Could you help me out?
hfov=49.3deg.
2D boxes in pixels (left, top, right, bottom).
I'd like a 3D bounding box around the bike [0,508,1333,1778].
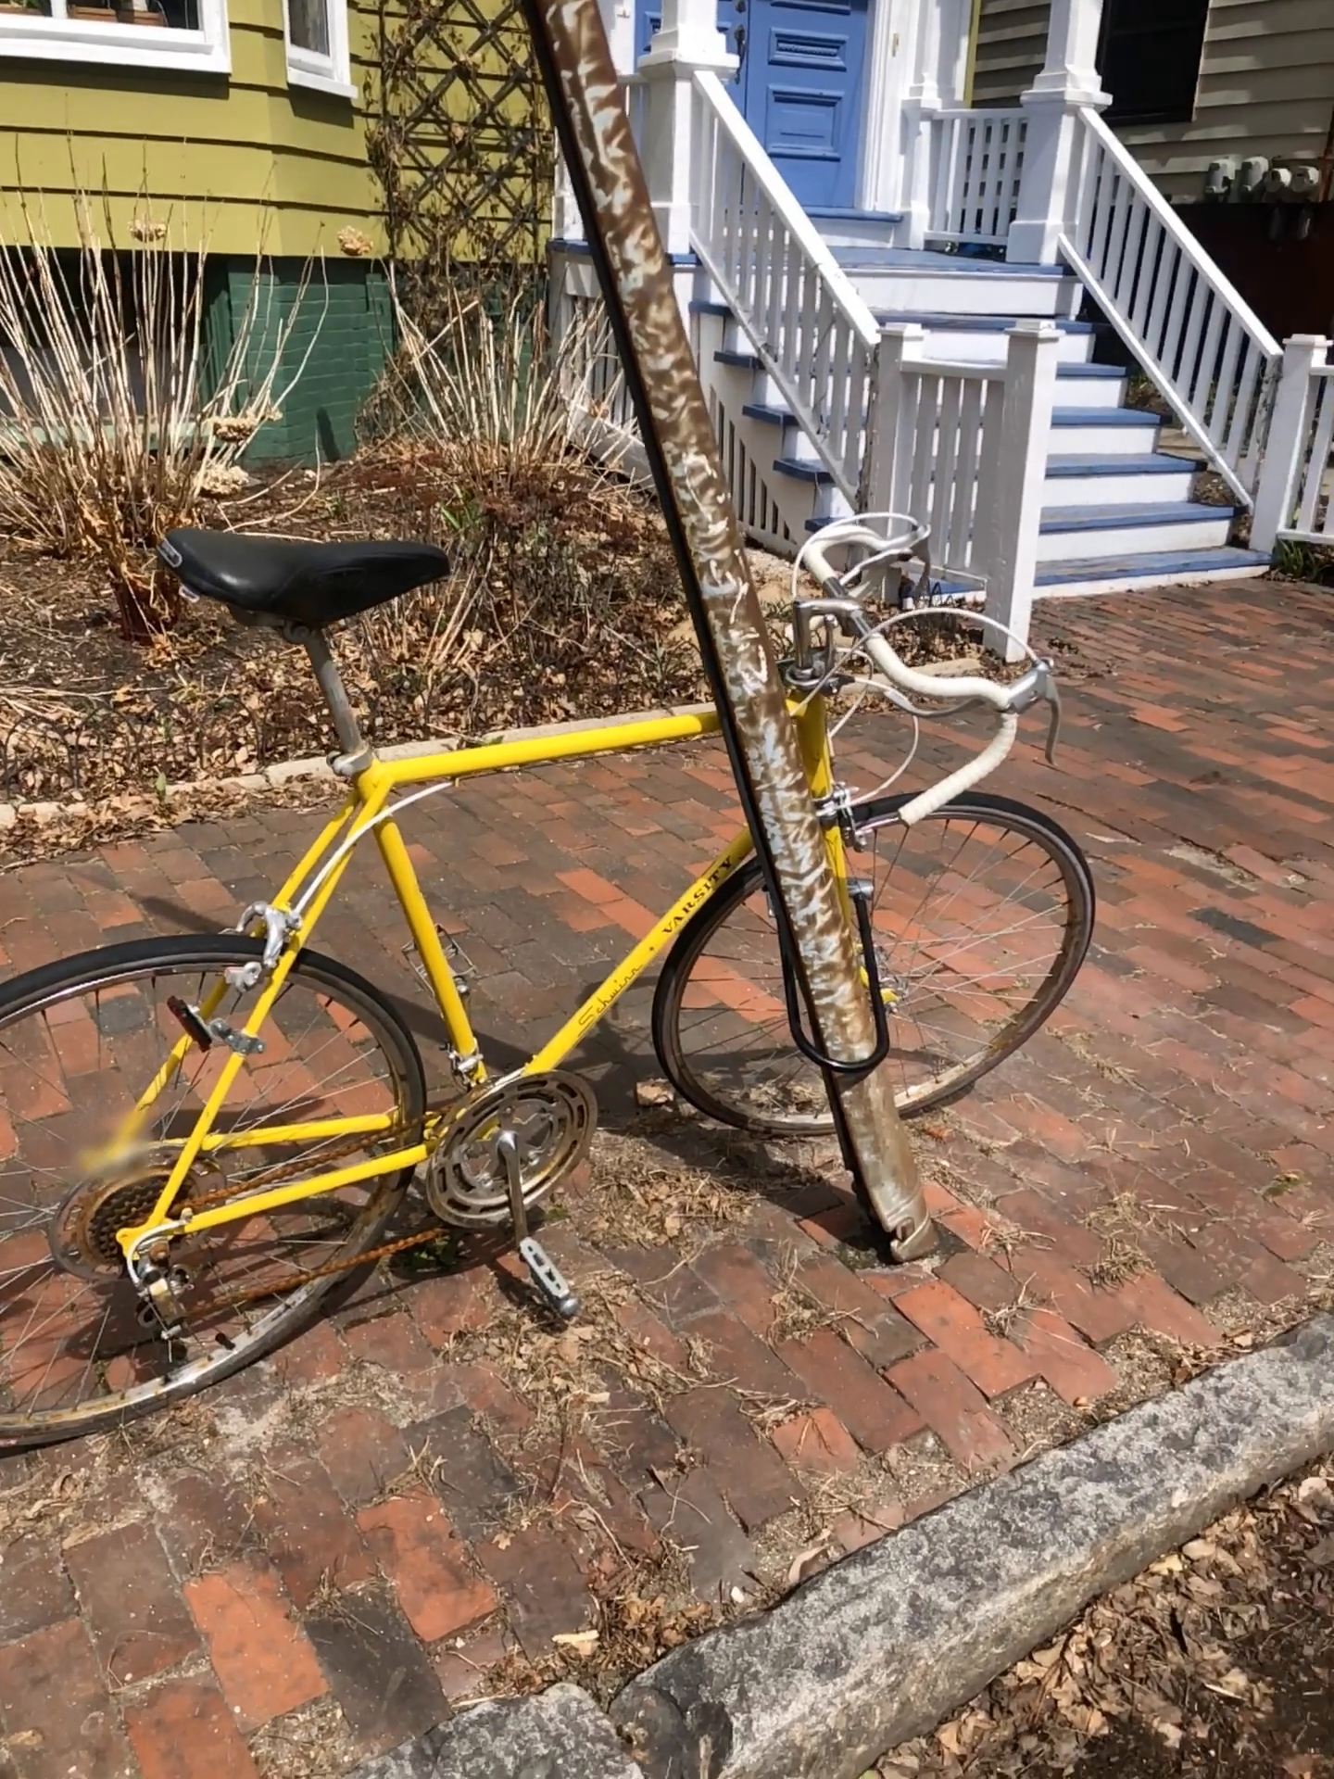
[{"bbox_3d":[-0.053,0.146,1.691,1.706,0.855,0.525,-15,27,-26],"label":"bike"}]
